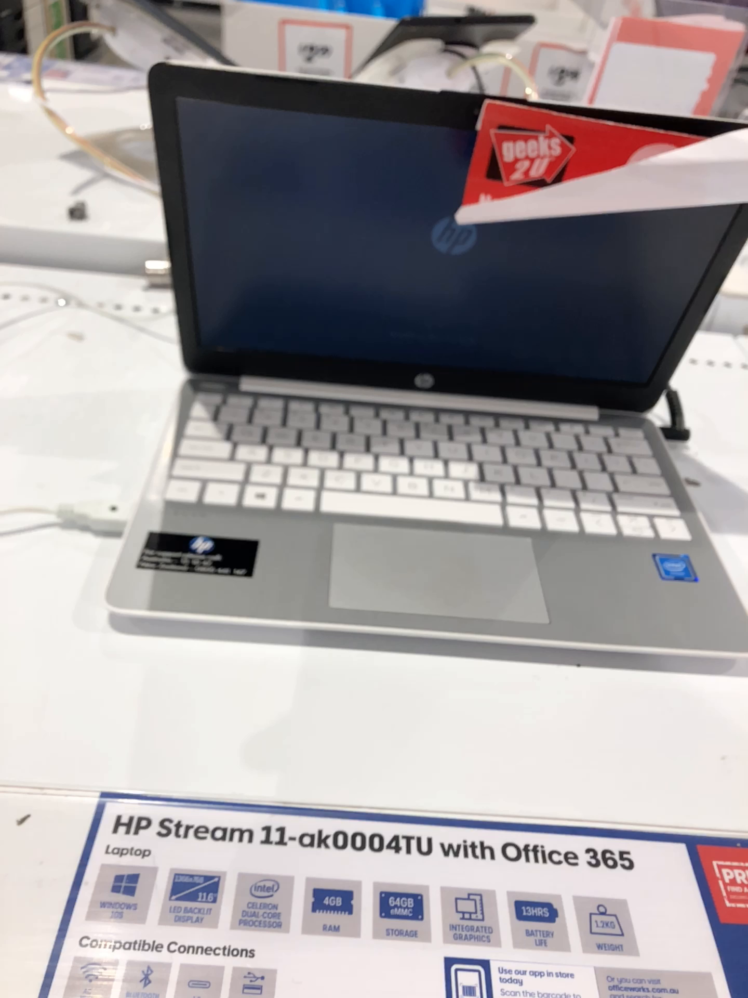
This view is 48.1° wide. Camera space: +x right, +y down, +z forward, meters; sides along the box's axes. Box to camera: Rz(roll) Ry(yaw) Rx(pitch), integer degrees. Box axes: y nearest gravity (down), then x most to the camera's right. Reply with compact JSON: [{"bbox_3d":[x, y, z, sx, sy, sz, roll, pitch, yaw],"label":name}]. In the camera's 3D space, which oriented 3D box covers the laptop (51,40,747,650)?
[{"bbox_3d":[0.038,-0.071,0.366,0.273,0.173,0.184,4,38,-4],"label":"laptop"}]
